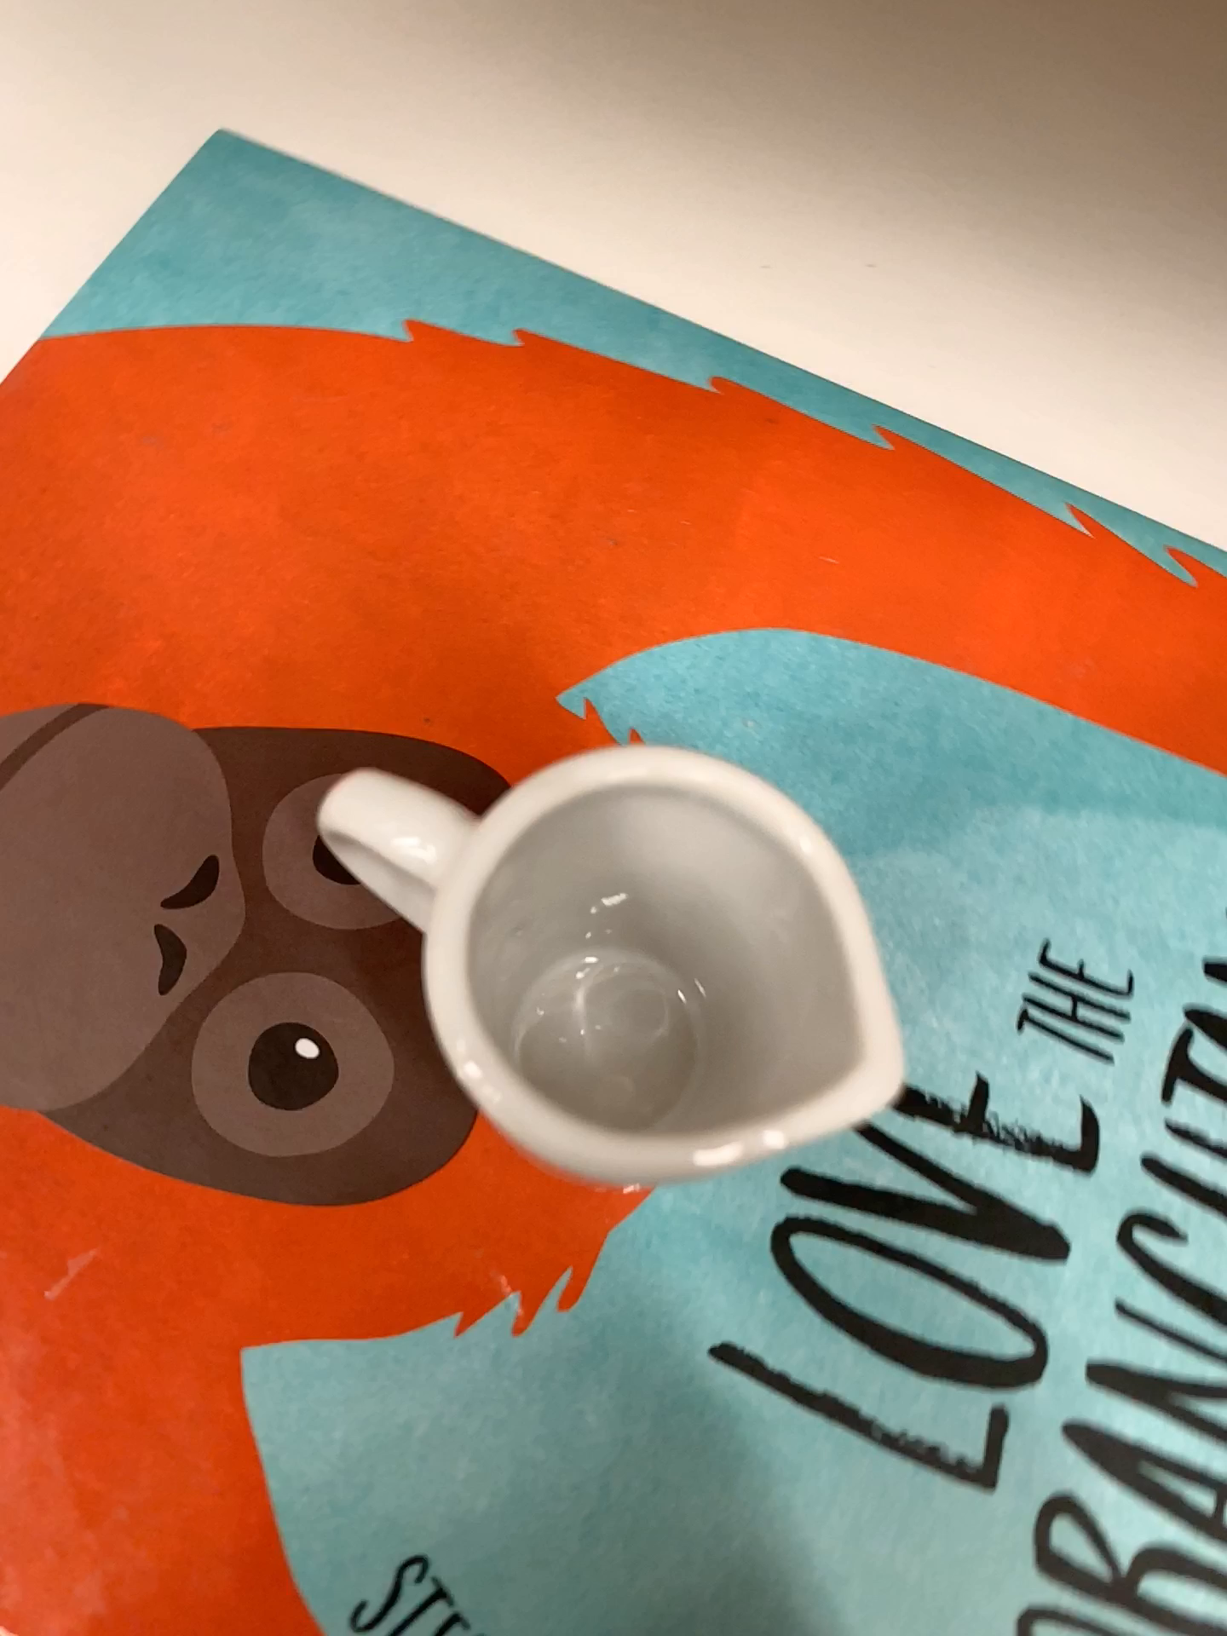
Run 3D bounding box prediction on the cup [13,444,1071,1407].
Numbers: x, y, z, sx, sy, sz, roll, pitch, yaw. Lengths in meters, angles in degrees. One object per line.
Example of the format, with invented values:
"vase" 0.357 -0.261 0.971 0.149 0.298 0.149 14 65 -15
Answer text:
"cup" -0.006 0.013 0.127 0.070 0.050 0.050 34 69 8
